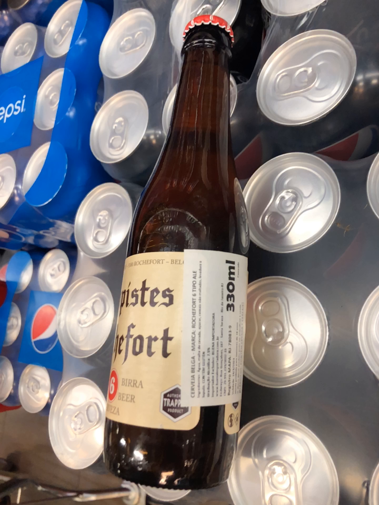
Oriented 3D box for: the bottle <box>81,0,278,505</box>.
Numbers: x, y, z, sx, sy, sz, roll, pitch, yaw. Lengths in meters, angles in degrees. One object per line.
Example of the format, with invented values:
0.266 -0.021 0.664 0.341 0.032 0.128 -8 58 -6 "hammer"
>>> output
0.002 -0.023 0.206 0.060 0.050 0.240 -4 76 34 "bottle"
